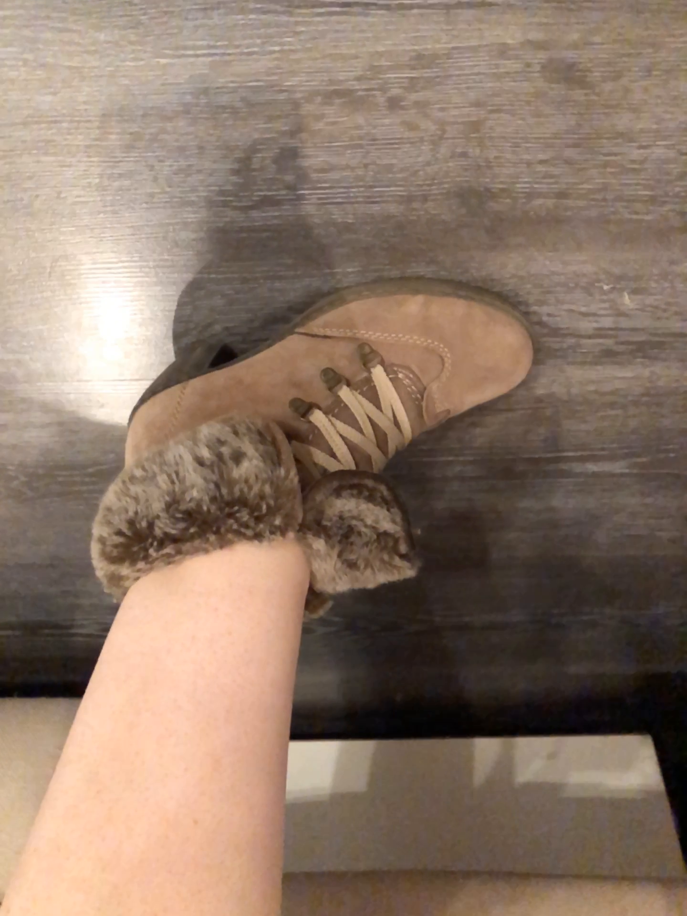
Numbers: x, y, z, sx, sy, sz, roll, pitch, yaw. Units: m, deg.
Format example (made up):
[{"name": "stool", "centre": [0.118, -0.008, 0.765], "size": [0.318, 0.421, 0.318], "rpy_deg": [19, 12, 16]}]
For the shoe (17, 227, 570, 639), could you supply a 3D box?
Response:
[{"name": "shoe", "centre": [-0.018, -0.010, 0.430], "size": [0.250, 0.149, 0.120], "rpy_deg": [-10, 134, 12]}]
